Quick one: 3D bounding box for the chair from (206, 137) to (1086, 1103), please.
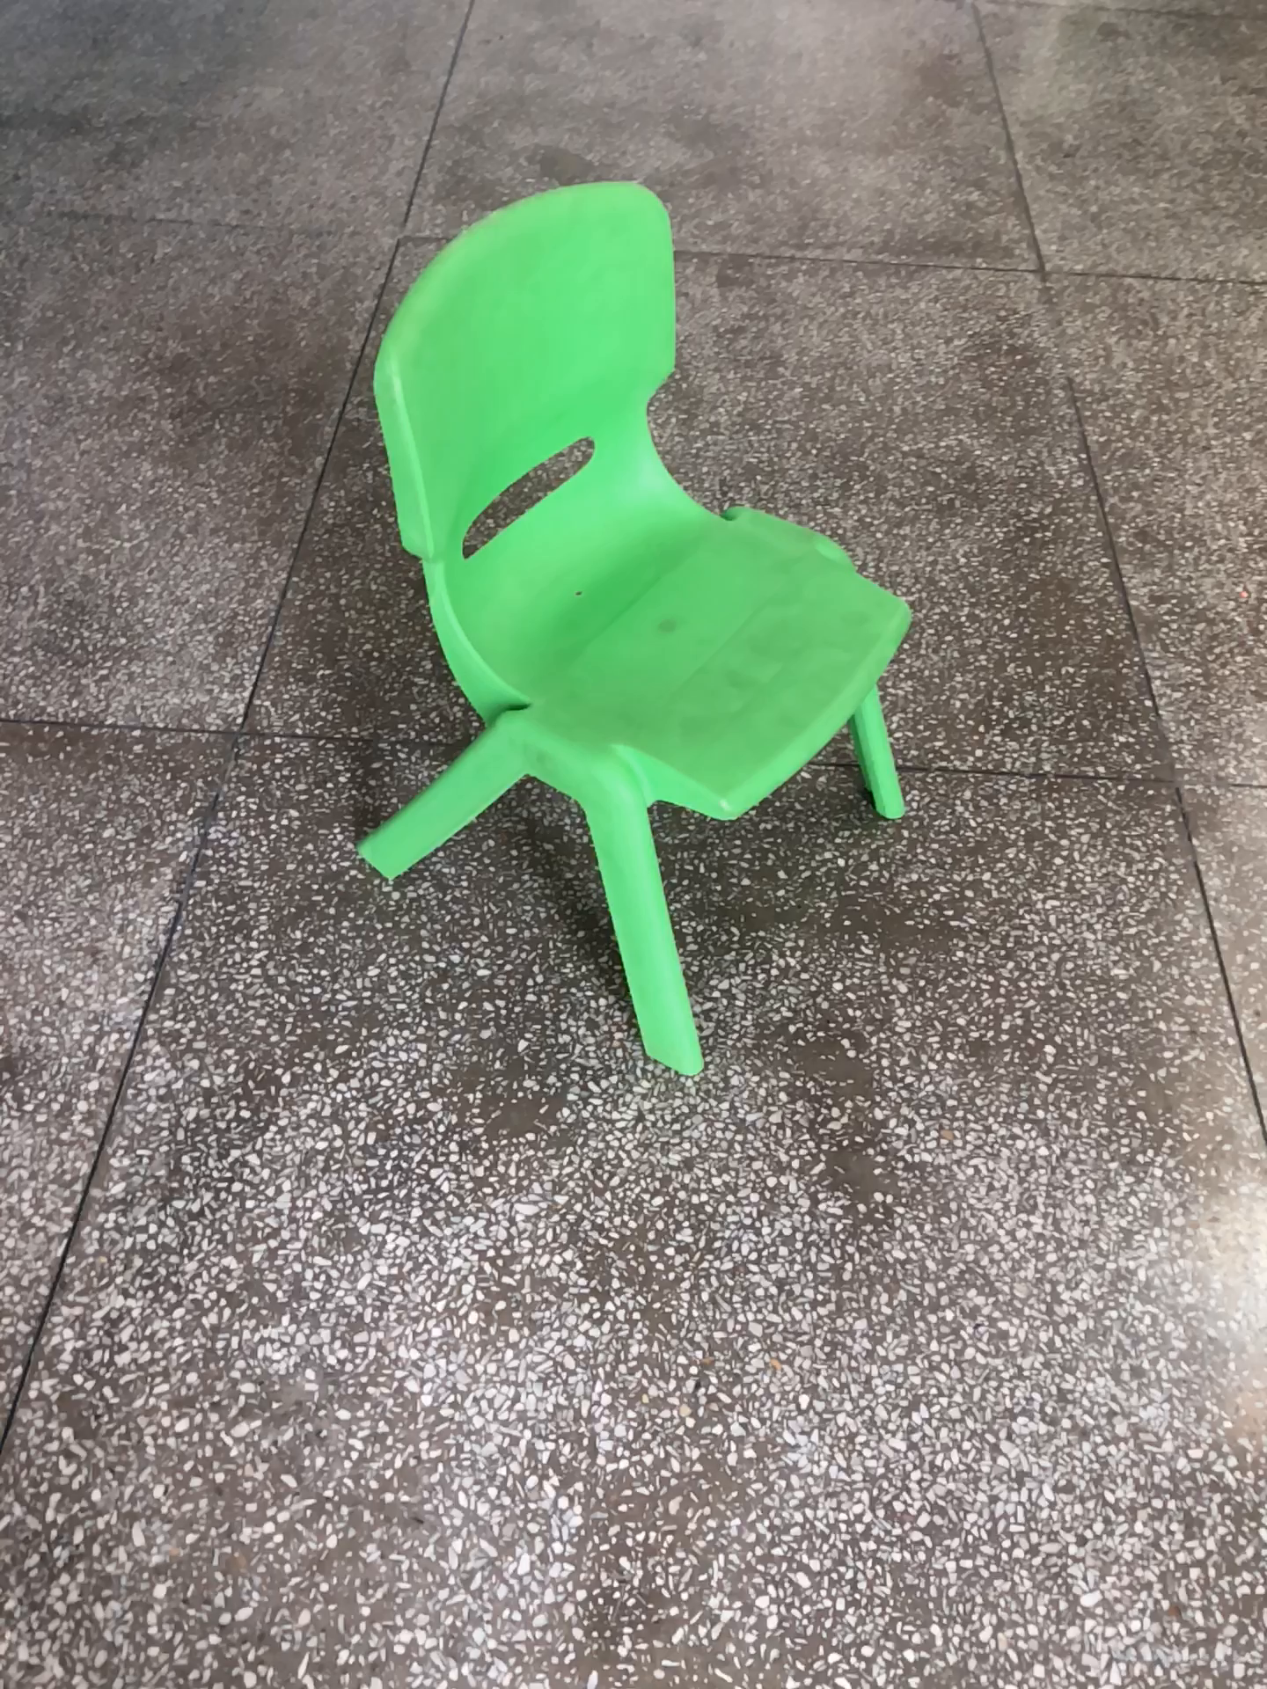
[{"bbox_3d":[0.009,-0.160,1.017,0.390,0.459,0.371,29,55,19],"label":"chair"}]
